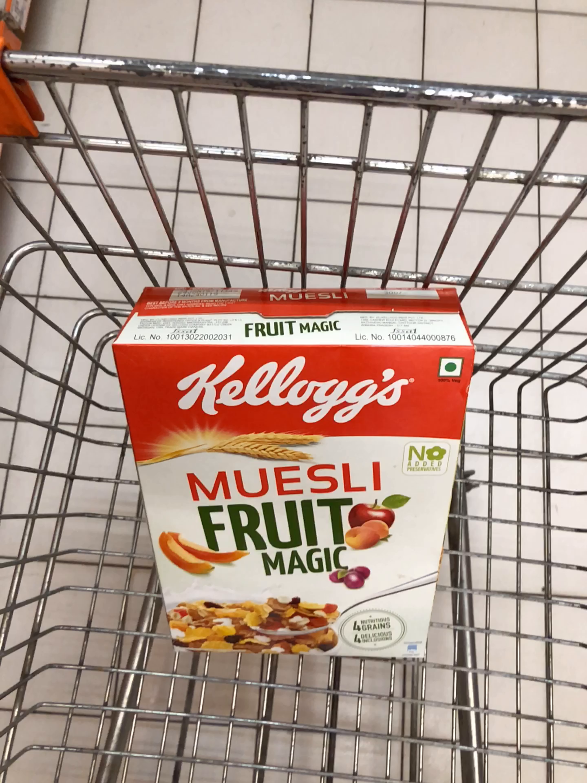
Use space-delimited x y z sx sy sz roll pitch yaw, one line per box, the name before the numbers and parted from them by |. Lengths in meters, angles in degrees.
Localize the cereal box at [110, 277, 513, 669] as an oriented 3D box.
cereal box | 0.008 0.067 0.432 0.200 0.269 0.080 1 34 0
